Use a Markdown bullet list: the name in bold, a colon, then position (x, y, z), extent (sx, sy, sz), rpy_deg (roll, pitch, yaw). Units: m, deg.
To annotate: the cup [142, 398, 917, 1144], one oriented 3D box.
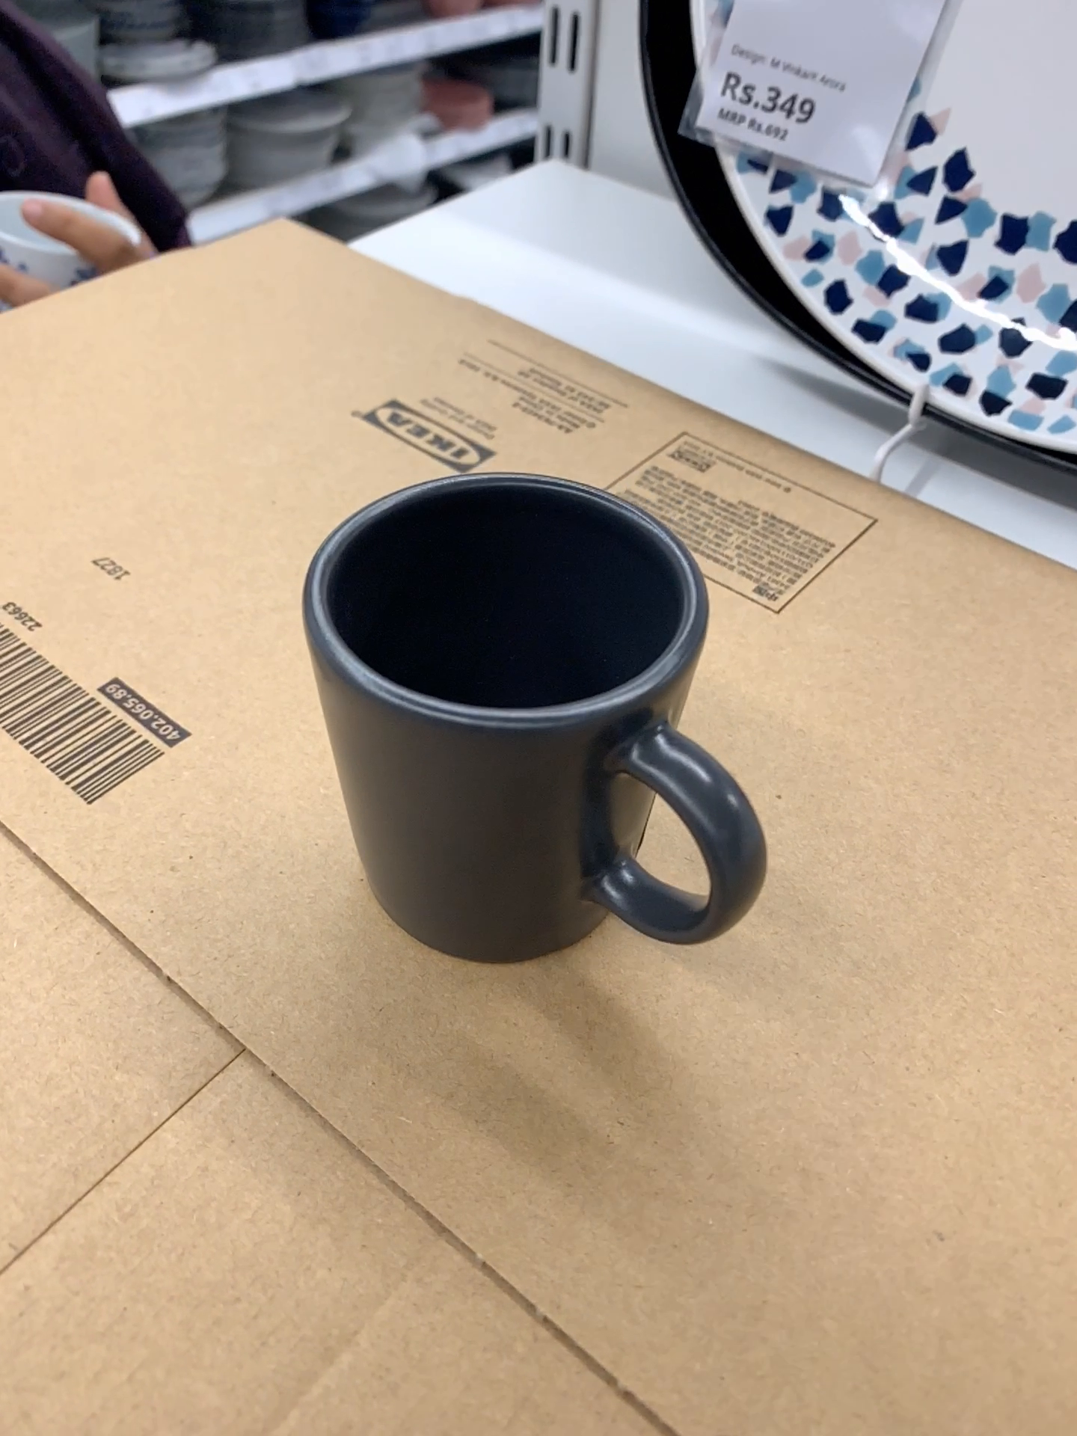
- **cup**: position (-0.003, 0.003, 0.177), extent (0.090, 0.060, 0.060), rpy_deg (30, 50, 23)
